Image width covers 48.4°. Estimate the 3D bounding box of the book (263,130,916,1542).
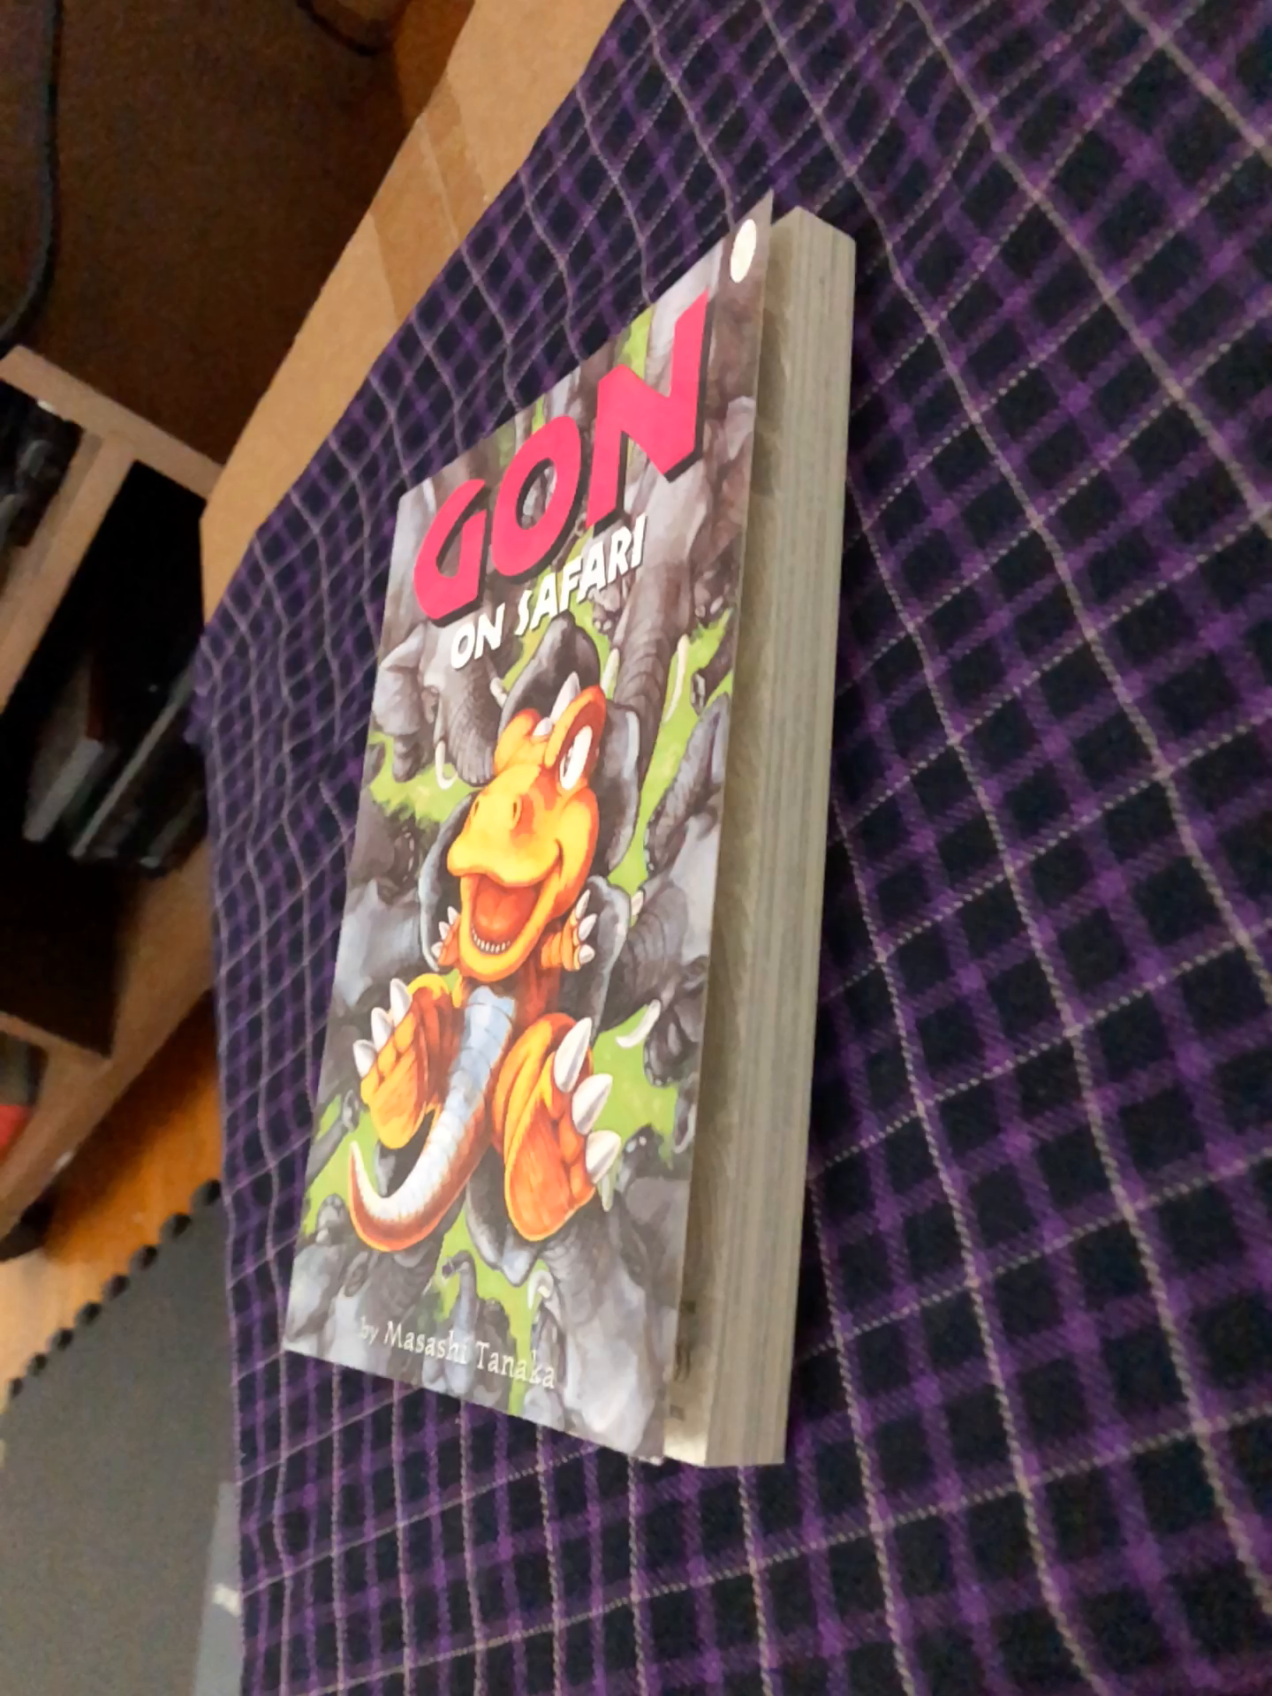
[{"bbox_3d":[-0.015,-0.002,0.267,0.151,0.020,0.210,-15,65,52],"label":"book"}]
